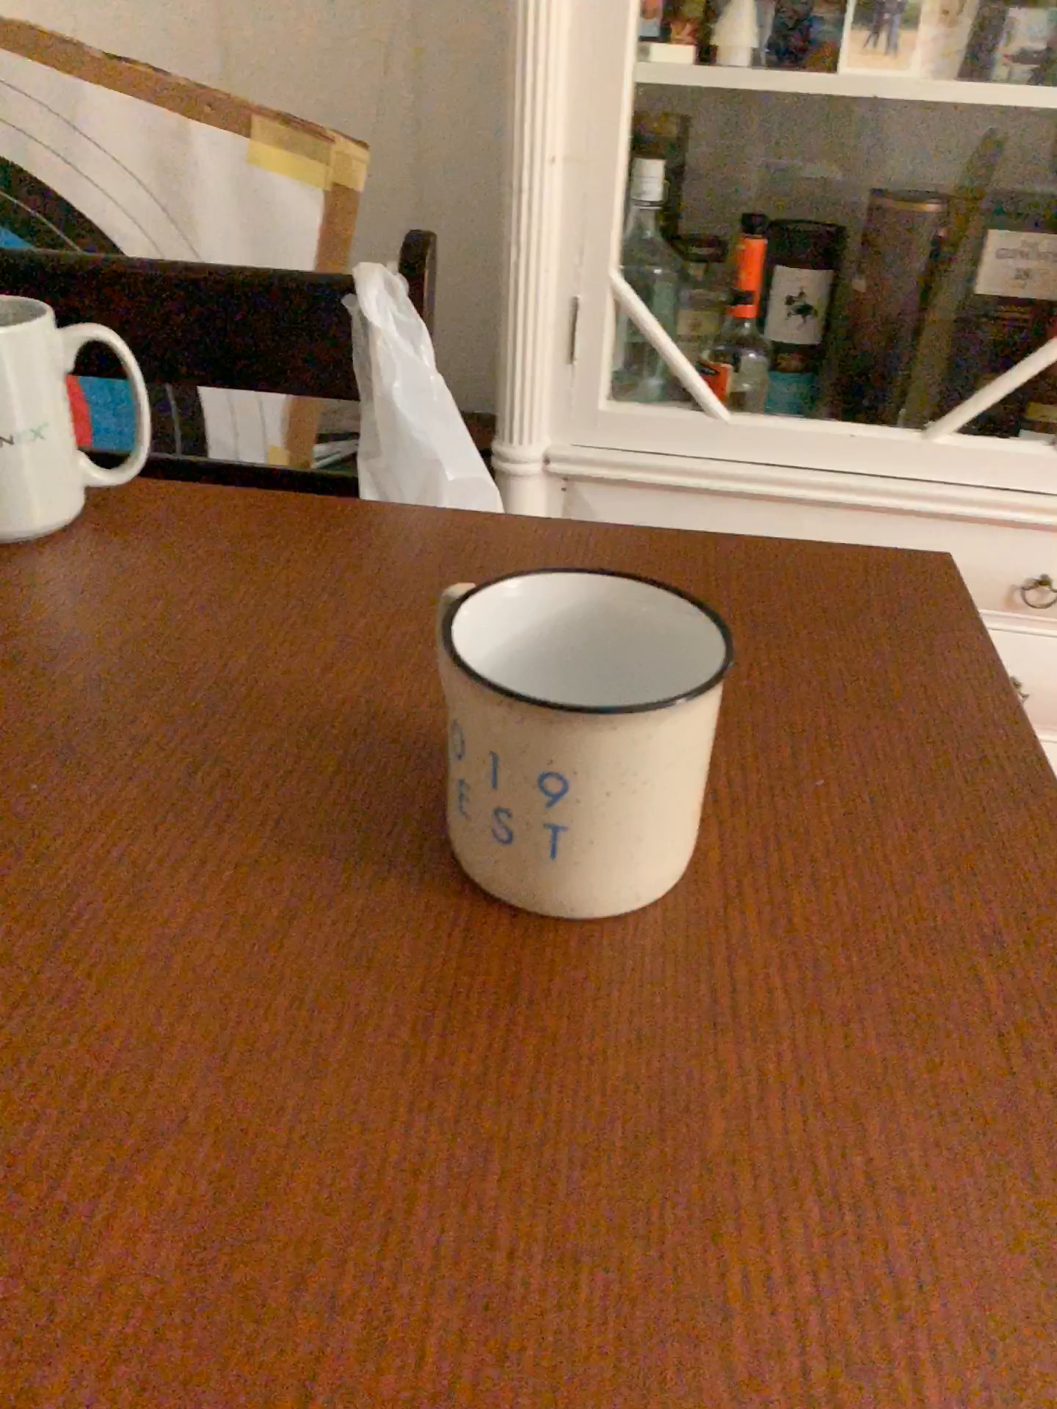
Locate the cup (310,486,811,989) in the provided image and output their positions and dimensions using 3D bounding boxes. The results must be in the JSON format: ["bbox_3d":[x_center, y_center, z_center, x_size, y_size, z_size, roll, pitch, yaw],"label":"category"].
[{"bbox_3d":[0.003,0.001,0.396,0.100,0.099,0.151,-20,39,-32],"label":"cup"}]
